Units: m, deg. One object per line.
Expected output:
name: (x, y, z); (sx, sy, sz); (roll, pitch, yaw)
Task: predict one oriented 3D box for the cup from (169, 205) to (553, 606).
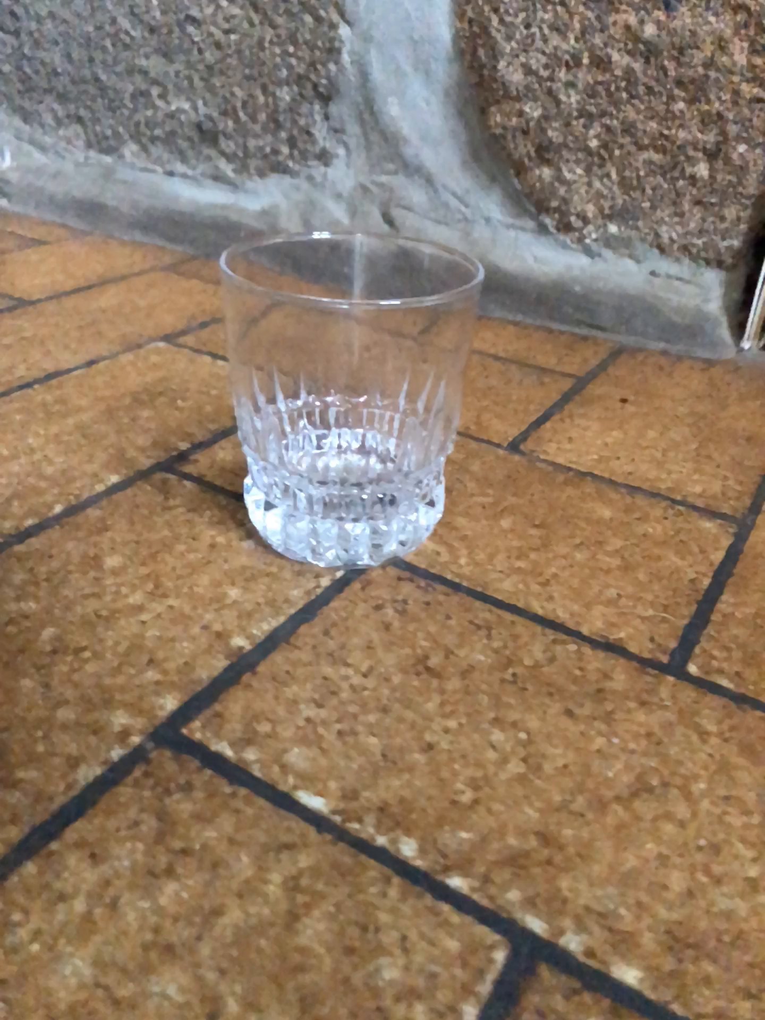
cup: (-0.009, -0.040, 0.272); (0.080, 0.089, 0.080); (3, 31, -2)
